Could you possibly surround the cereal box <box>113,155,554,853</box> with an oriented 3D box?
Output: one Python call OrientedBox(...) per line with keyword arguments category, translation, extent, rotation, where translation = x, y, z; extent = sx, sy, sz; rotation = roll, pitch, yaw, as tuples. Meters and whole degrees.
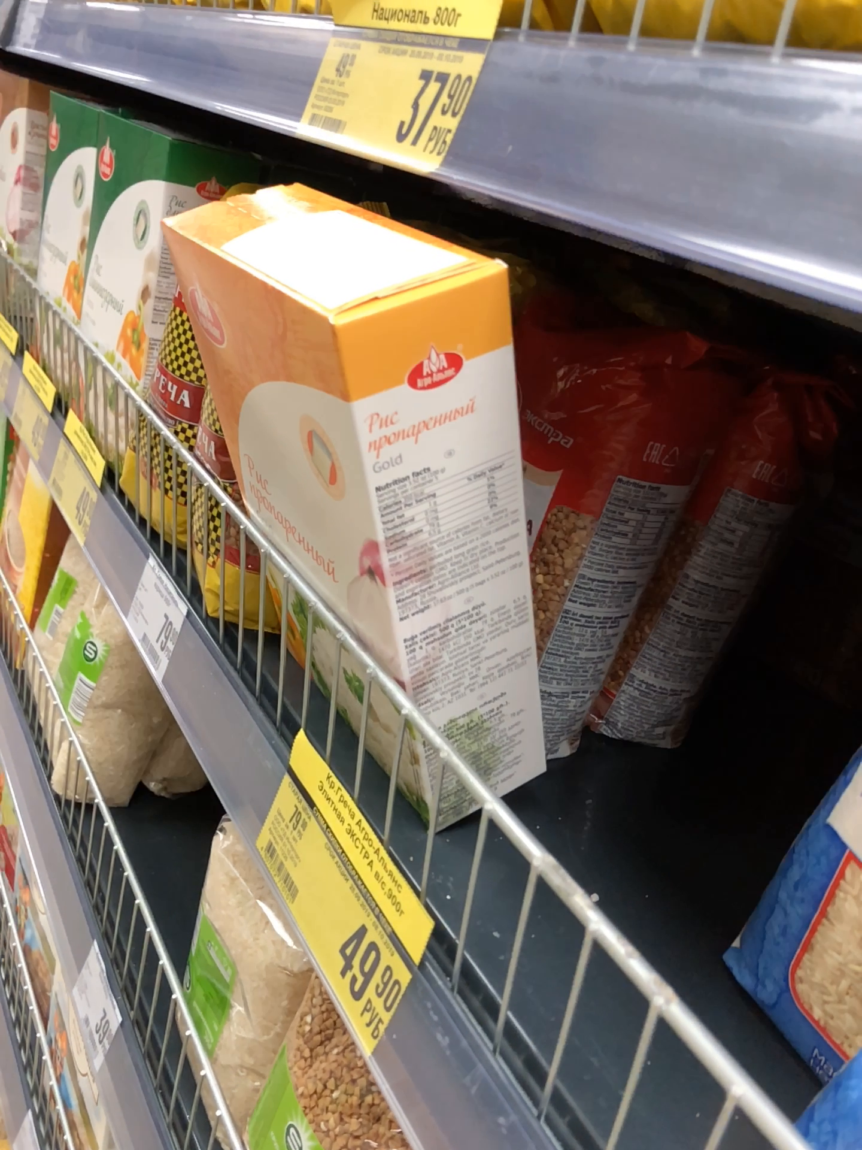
OrientedBox(category="cereal box", translation=(-0.030, -0.026, 0.325), extent=(0.060, 0.189, 0.140), rotation=(-25, 40, -21))
